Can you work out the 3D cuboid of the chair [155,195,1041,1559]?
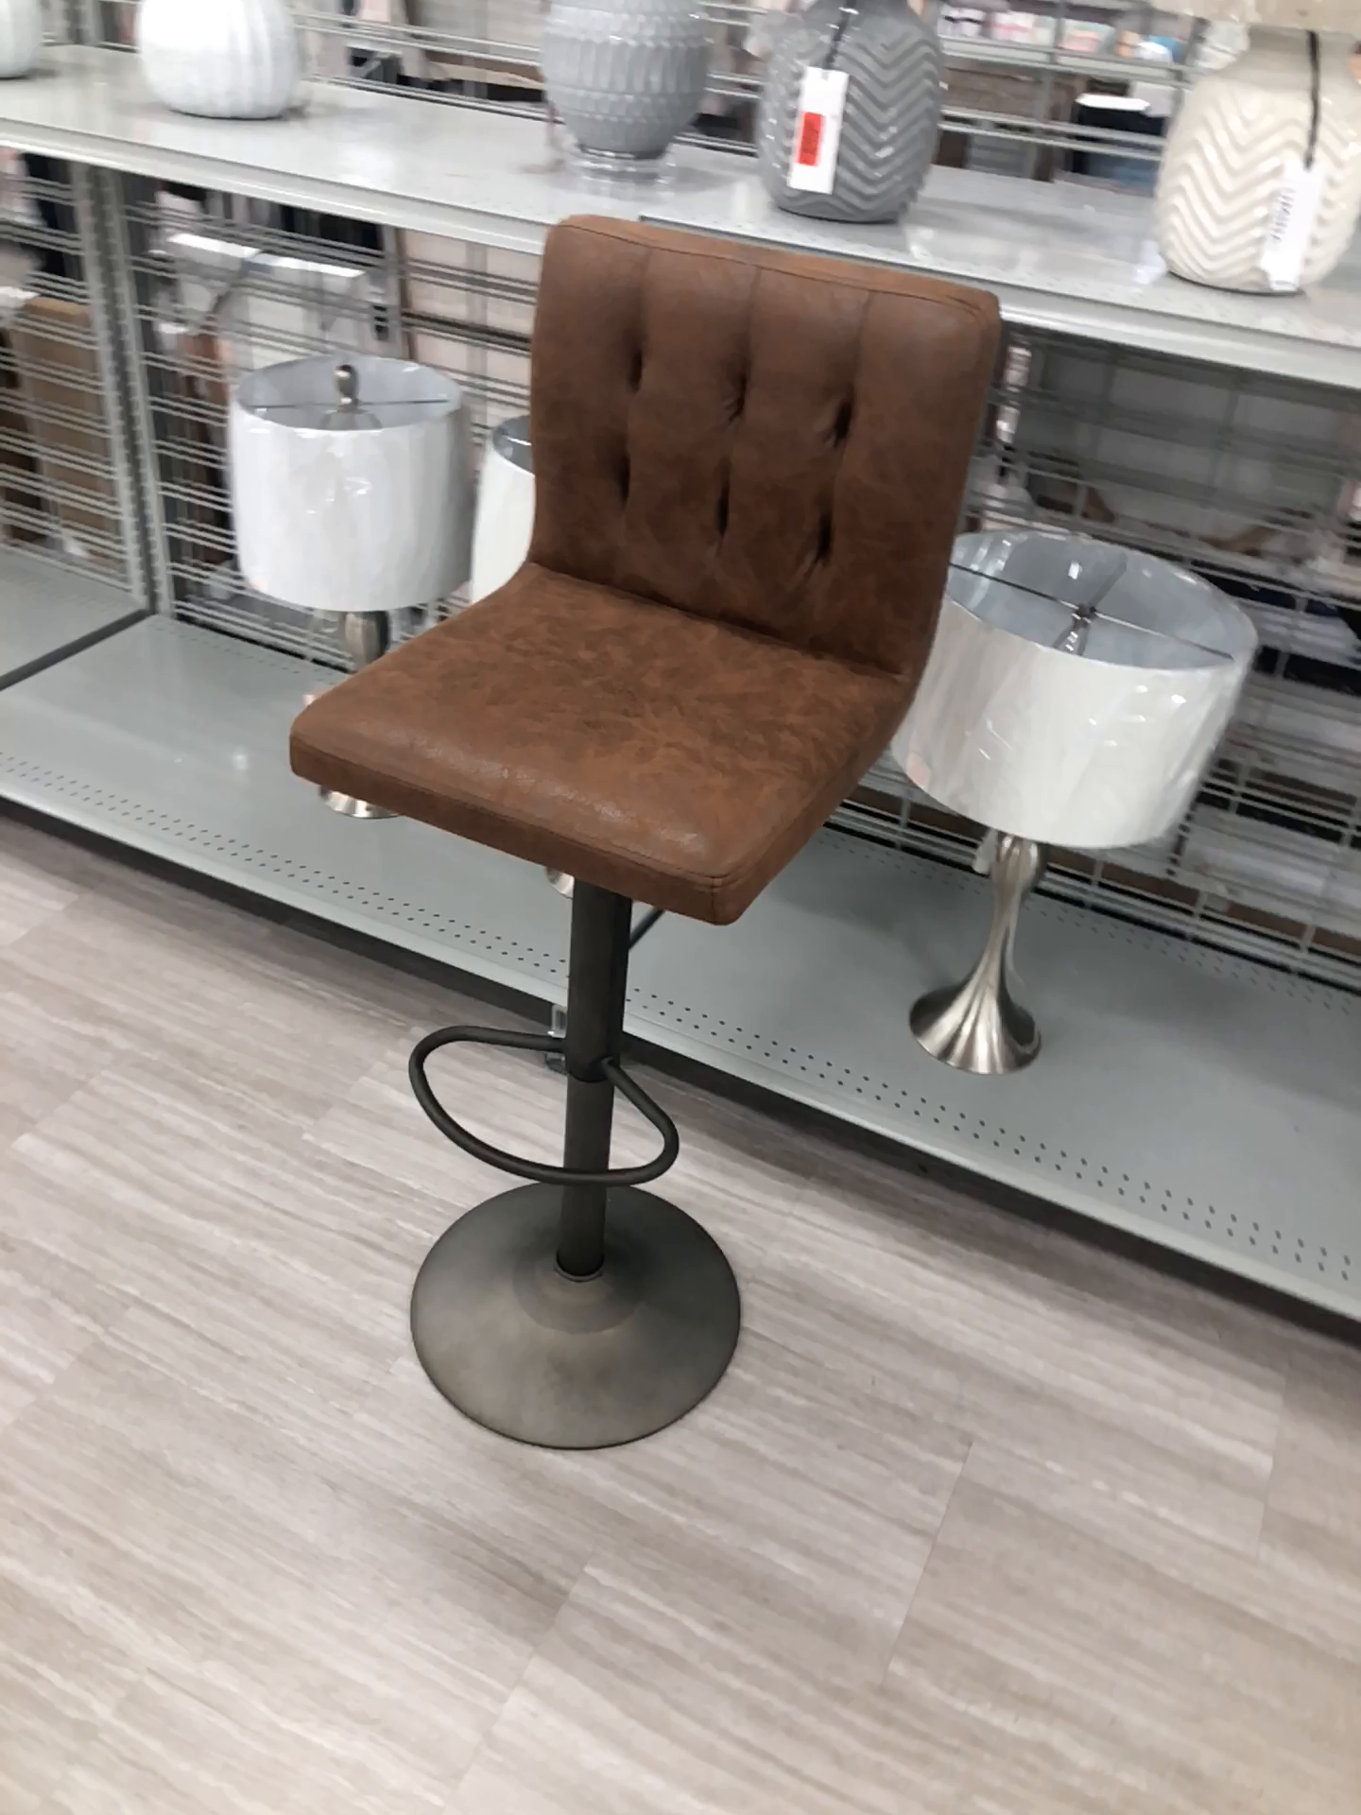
[{"bbox_3d":[-0.070,-0.002,1.401,0.474,1.102,0.470,19,38,20],"label":"chair"}]
